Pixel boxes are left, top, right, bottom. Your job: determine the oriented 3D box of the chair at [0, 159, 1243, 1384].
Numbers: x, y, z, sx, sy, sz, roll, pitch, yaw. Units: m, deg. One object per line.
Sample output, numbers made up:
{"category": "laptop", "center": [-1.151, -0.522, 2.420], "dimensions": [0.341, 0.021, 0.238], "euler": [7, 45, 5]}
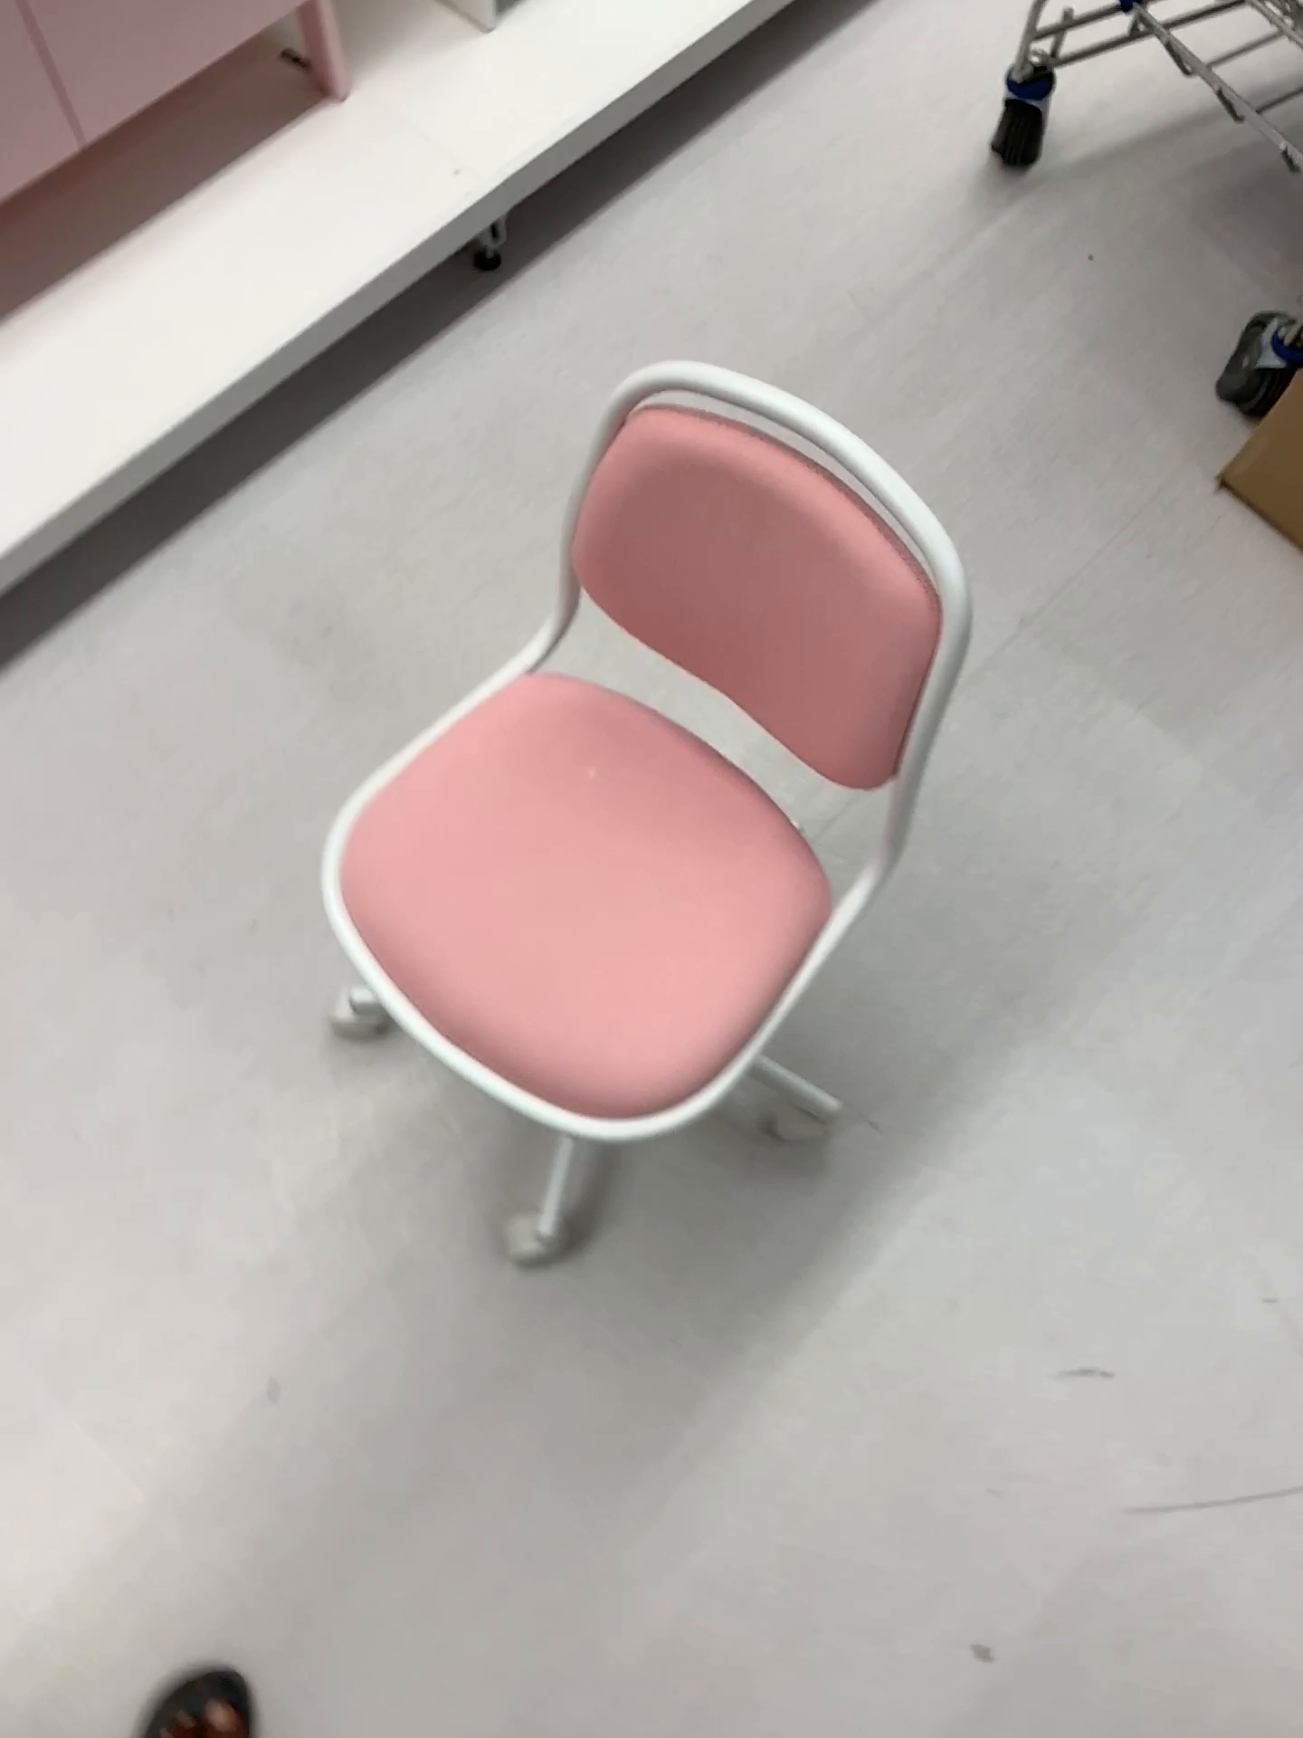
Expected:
{"category": "chair", "center": [-0.047, 0.004, 1.095], "dimensions": [0.560, 0.699, 0.530], "euler": [39, 73, 13]}
